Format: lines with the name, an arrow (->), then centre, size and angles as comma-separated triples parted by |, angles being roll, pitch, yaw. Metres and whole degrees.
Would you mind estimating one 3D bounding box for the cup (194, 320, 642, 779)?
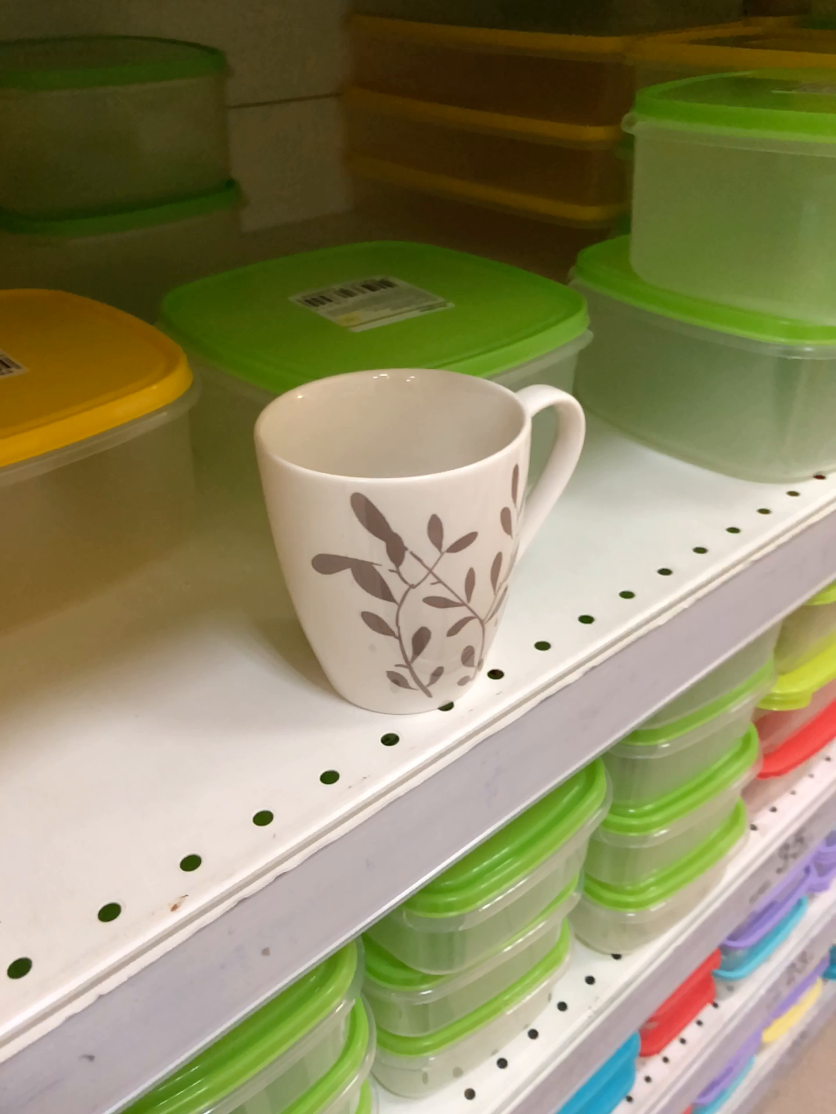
cup -> 0.003, -0.011, 0.328 | 0.086, 0.097, 0.121 | 29, 44, 35
